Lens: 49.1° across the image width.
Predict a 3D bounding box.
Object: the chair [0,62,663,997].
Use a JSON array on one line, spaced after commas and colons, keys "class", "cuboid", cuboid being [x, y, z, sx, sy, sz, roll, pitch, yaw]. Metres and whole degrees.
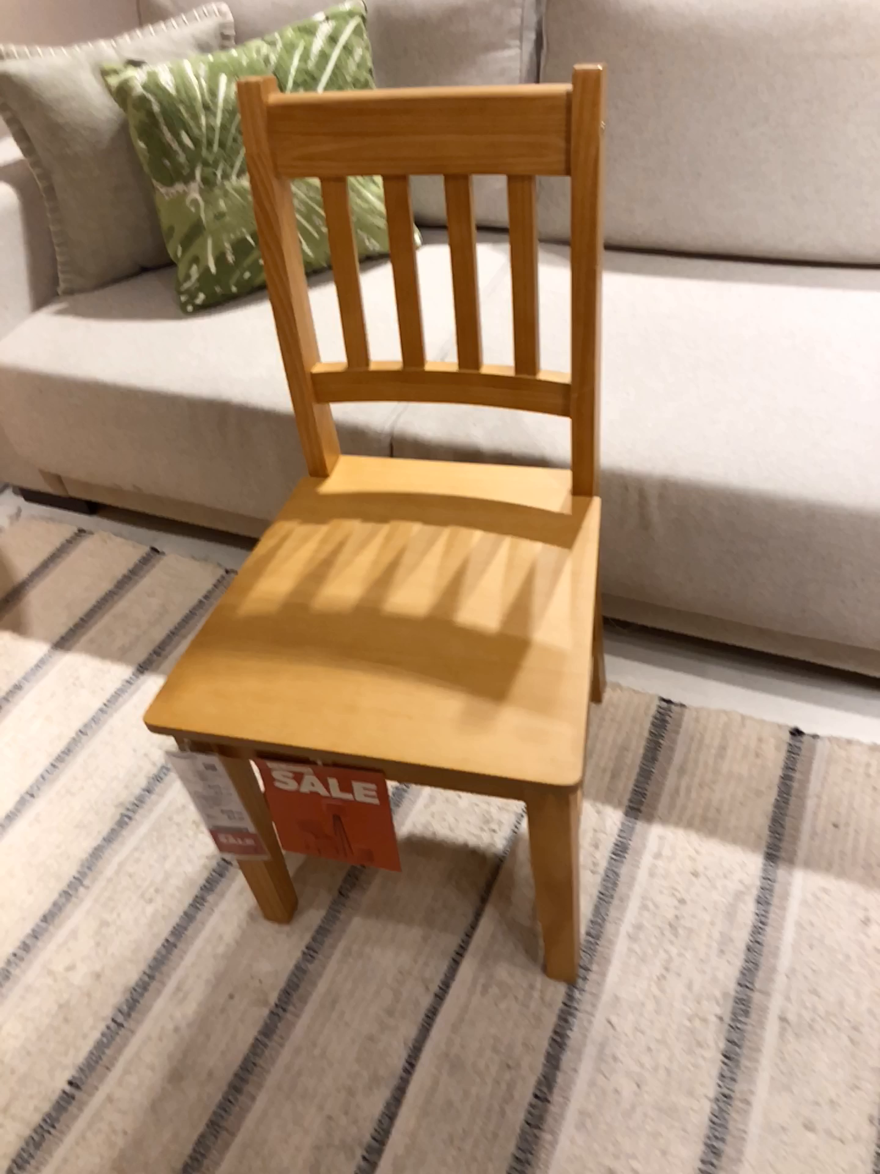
[{"class": "chair", "cuboid": [-0.034, -0.030, 1.045, 0.460, 0.815, 0.523, 5, 46, 14]}]
